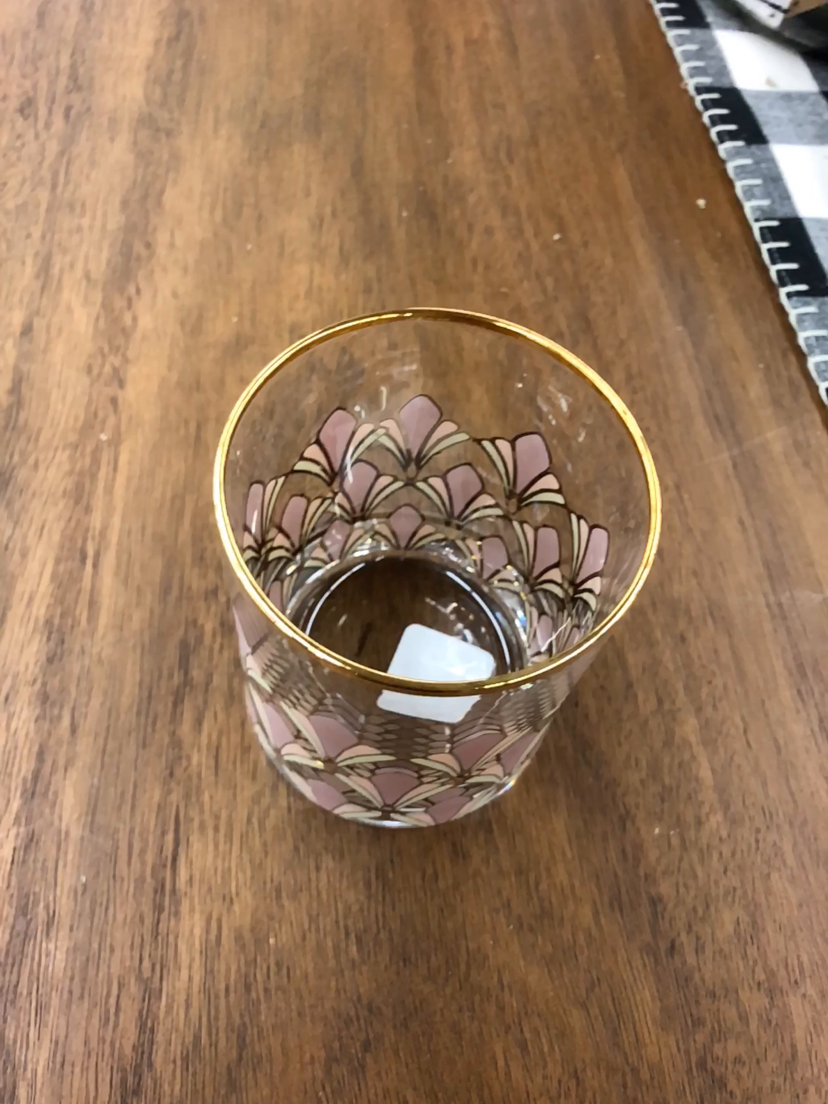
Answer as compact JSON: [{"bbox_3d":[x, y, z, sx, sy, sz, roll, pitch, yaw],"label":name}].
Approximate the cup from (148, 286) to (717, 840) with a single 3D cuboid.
[{"bbox_3d":[-0.001,0.009,0.195,0.083,0.090,0.080,2,60,-4],"label":"cup"}]
